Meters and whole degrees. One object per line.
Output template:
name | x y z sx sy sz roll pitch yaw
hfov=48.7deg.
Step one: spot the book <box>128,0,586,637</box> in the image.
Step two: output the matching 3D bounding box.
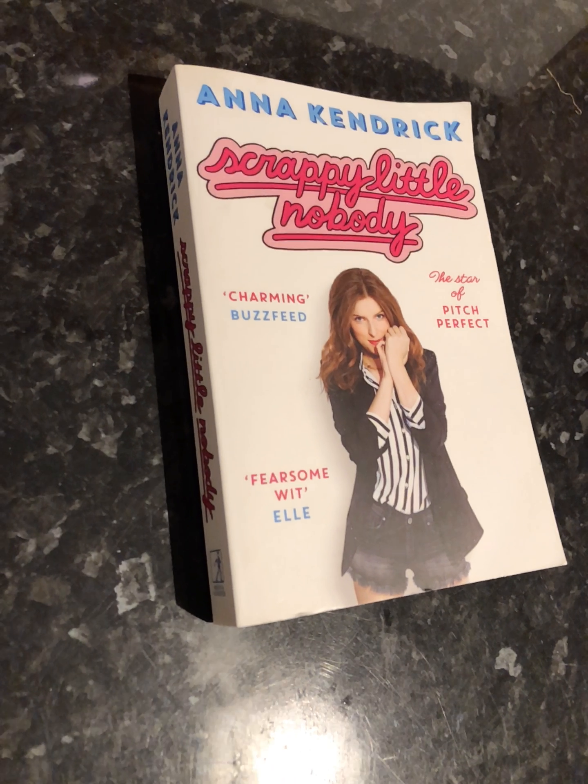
book | 0.020 -0.030 0.251 0.140 0.050 0.210 -1 75 -29
